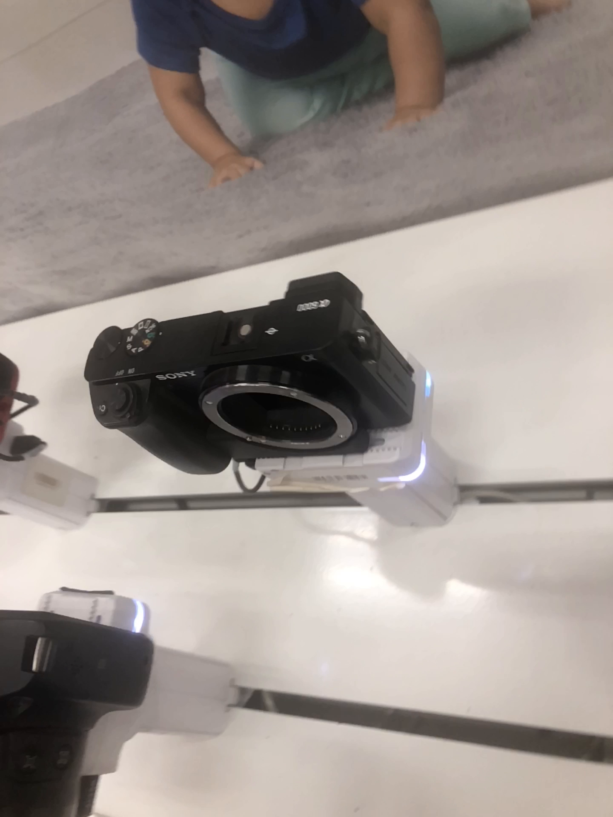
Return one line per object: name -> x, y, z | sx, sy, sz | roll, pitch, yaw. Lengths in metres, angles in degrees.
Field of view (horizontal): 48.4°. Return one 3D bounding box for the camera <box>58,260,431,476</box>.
camera -> -0.023, -0.008, 0.264 | 0.121, 0.070, 0.040 | -6, 60, 29
